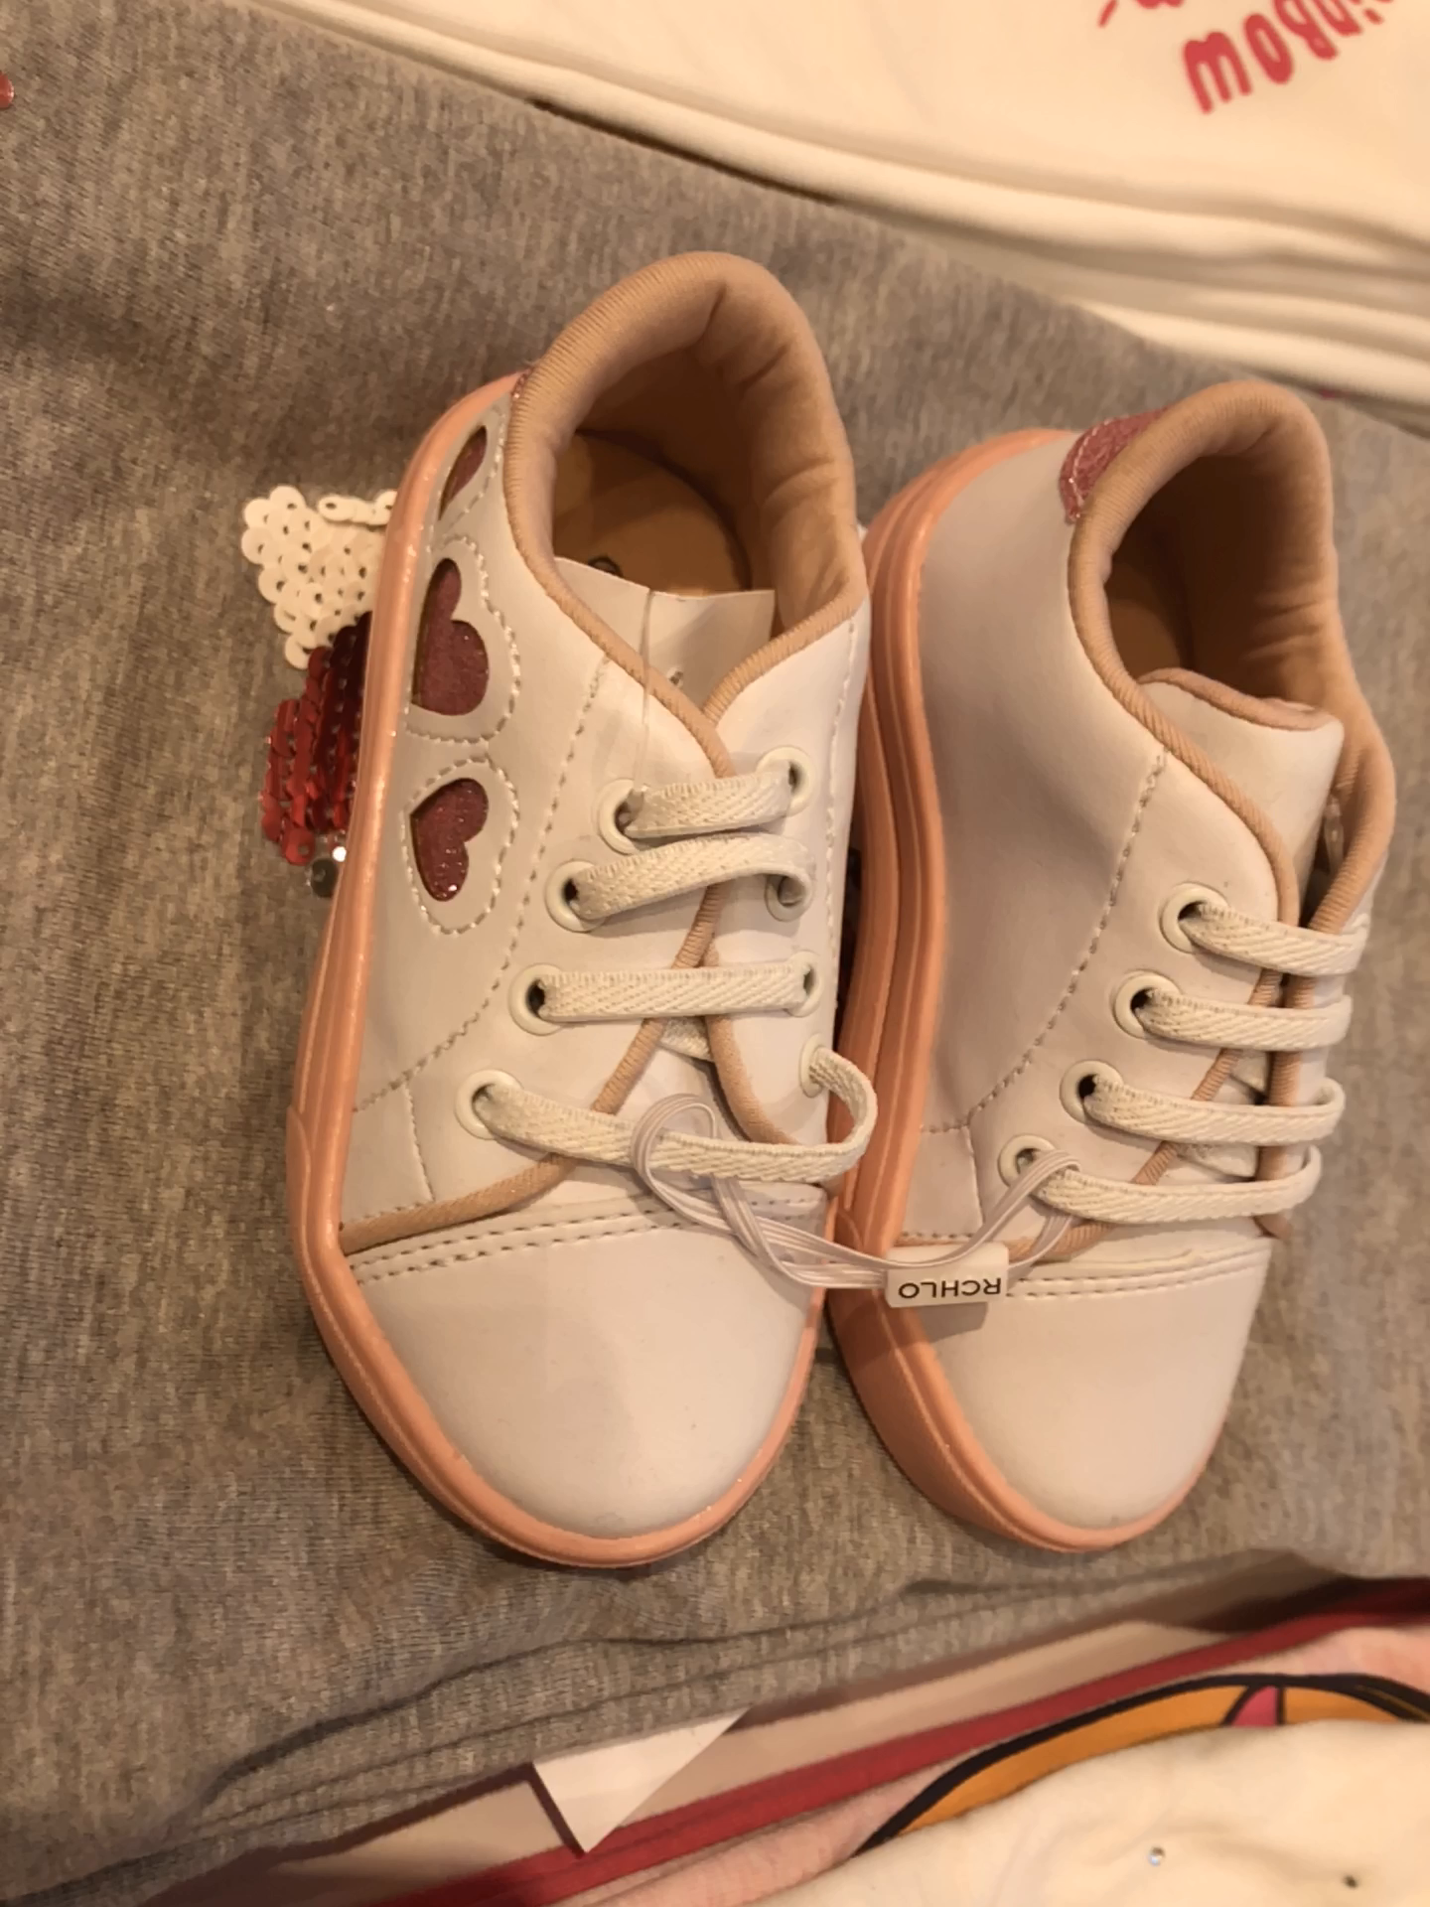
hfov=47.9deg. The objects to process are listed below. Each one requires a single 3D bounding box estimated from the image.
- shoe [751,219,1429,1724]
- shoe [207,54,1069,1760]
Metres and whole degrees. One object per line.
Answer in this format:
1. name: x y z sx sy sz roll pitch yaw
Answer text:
1. shoe: 0.058 0.001 0.208 0.070 0.070 0.150 -3 87 -31
2. shoe: -0.011 -0.003 0.189 0.070 0.070 0.150 4 87 -31
